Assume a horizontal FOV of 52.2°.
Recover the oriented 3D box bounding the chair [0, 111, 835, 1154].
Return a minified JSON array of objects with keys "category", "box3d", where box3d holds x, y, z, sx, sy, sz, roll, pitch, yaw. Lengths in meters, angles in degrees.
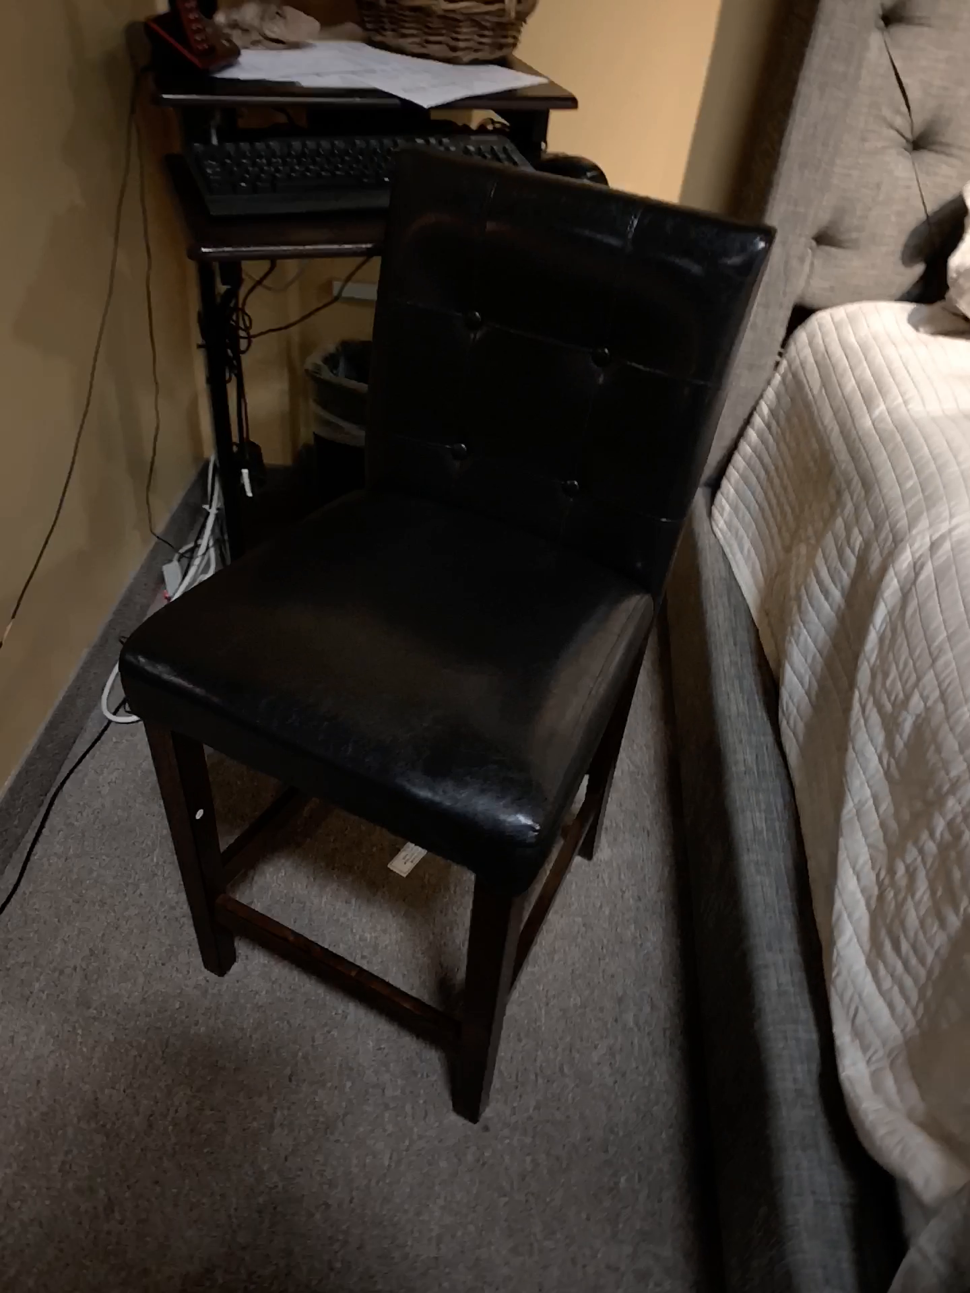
[{"category":"chair","box3d":[-0.080,-0.001,1.118,0.559,0.912,0.519,22,43,17]}]
